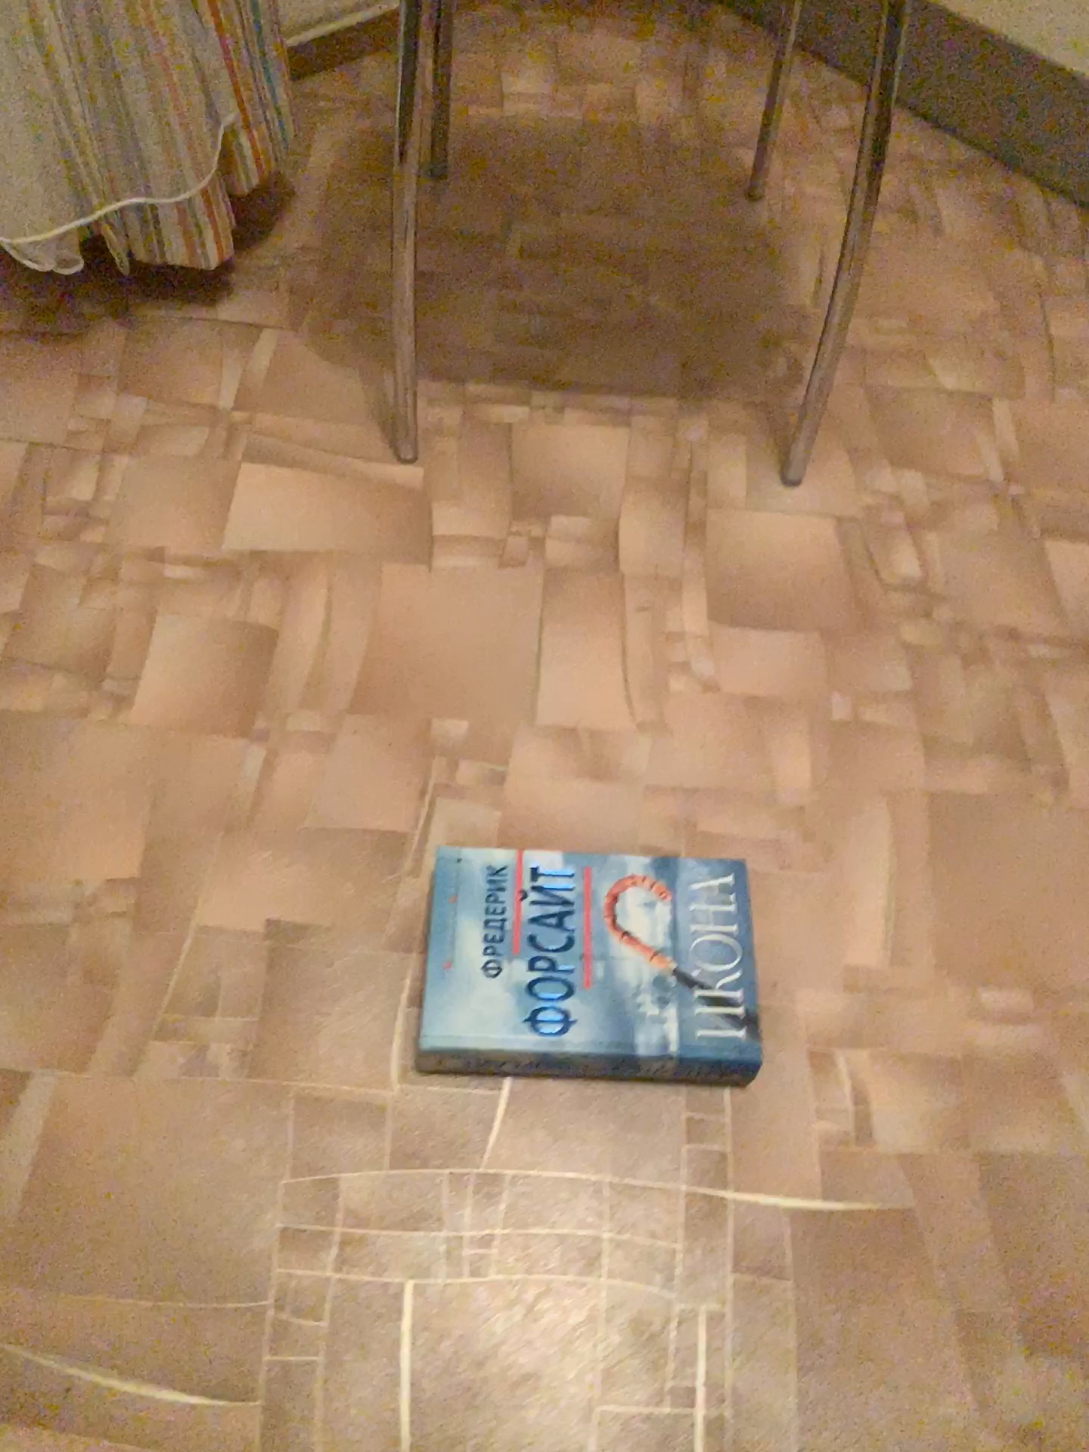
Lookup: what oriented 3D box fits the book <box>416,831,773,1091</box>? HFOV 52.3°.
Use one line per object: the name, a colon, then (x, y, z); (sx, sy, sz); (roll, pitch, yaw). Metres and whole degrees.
book: (0.032, 0.158, 0.755); (0.223, 0.056, 0.153); (3, 58, -2)
